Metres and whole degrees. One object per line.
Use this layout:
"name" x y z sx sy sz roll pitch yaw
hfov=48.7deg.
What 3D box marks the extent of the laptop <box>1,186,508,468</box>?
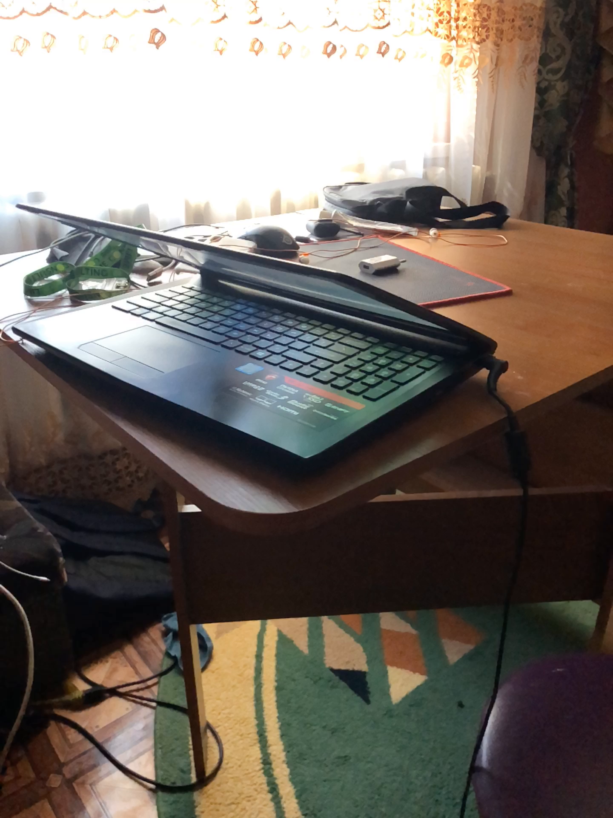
"laptop" -0.057 -0.107 0.570 0.373 0.095 0.239 22 34 39
